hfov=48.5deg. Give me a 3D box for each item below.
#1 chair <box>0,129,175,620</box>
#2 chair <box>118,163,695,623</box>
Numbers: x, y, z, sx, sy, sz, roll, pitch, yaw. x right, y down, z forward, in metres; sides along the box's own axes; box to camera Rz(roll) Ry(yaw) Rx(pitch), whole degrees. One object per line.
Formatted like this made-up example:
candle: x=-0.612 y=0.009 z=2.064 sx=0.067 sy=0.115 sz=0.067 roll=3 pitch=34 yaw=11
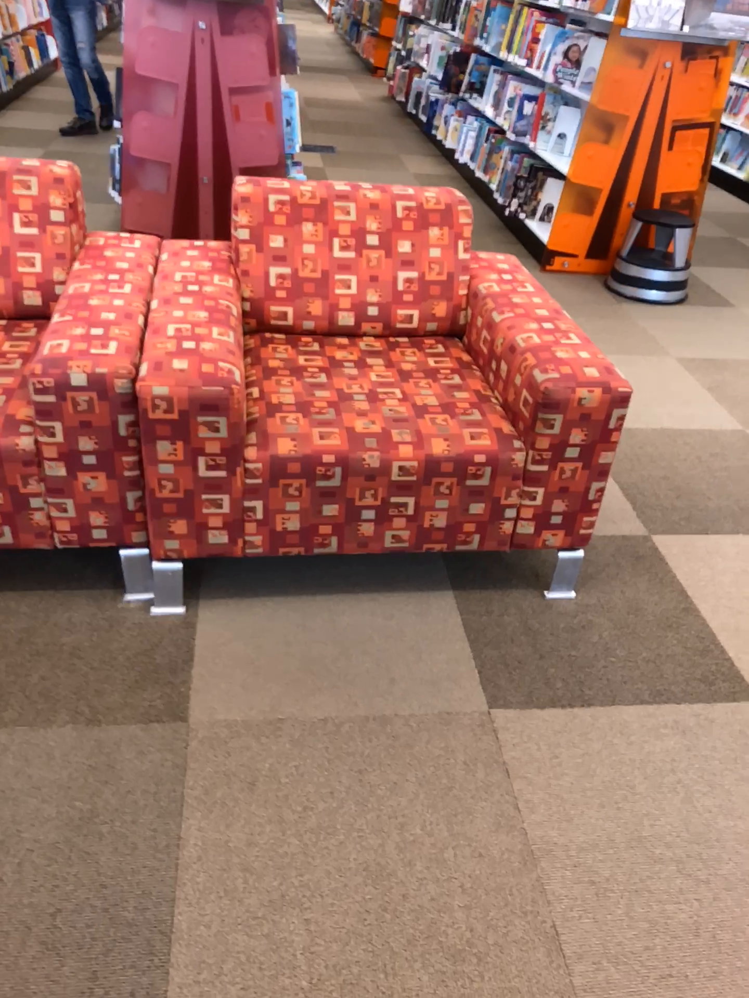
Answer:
chair: x=-0.964 y=-0.331 z=1.882 sx=0.919 sy=0.716 sz=0.956 roll=0 pitch=33 yaw=-10
chair: x=-0.019 y=-0.311 z=2.009 sx=1.002 sy=0.686 sz=0.996 roll=0 pitch=33 yaw=-10
